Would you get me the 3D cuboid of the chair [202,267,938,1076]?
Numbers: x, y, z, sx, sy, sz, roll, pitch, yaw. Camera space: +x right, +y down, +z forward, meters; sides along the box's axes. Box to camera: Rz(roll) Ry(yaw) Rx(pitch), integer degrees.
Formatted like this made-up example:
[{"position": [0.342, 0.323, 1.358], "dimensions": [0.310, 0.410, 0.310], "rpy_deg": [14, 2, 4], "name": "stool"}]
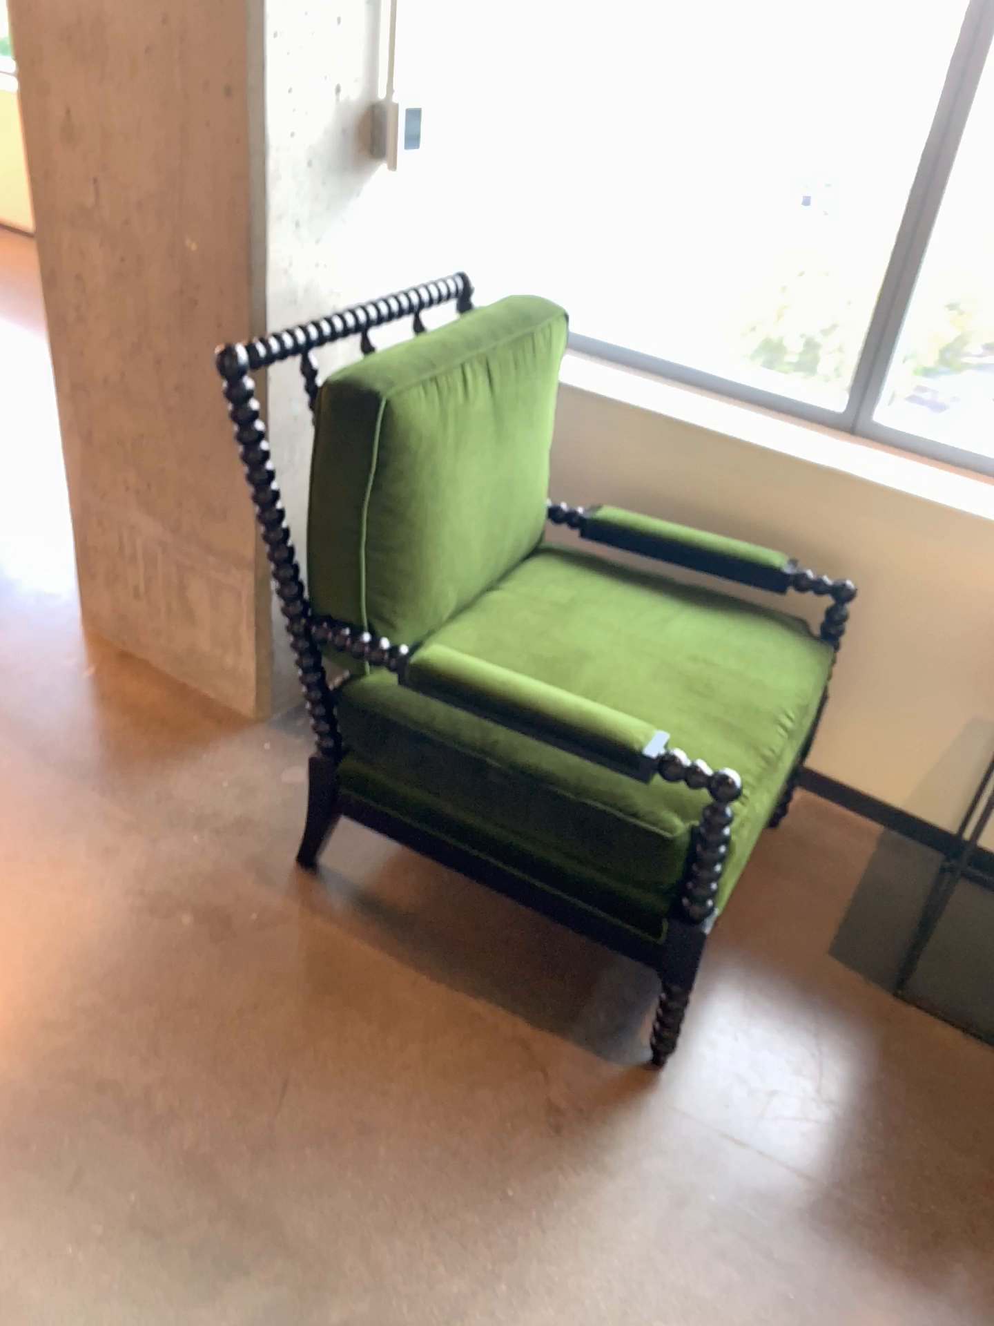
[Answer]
[{"position": [0.102, -0.053, 1.845], "dimensions": [0.922, 0.974, 0.733], "rpy_deg": [21, 36, 20], "name": "chair"}]
